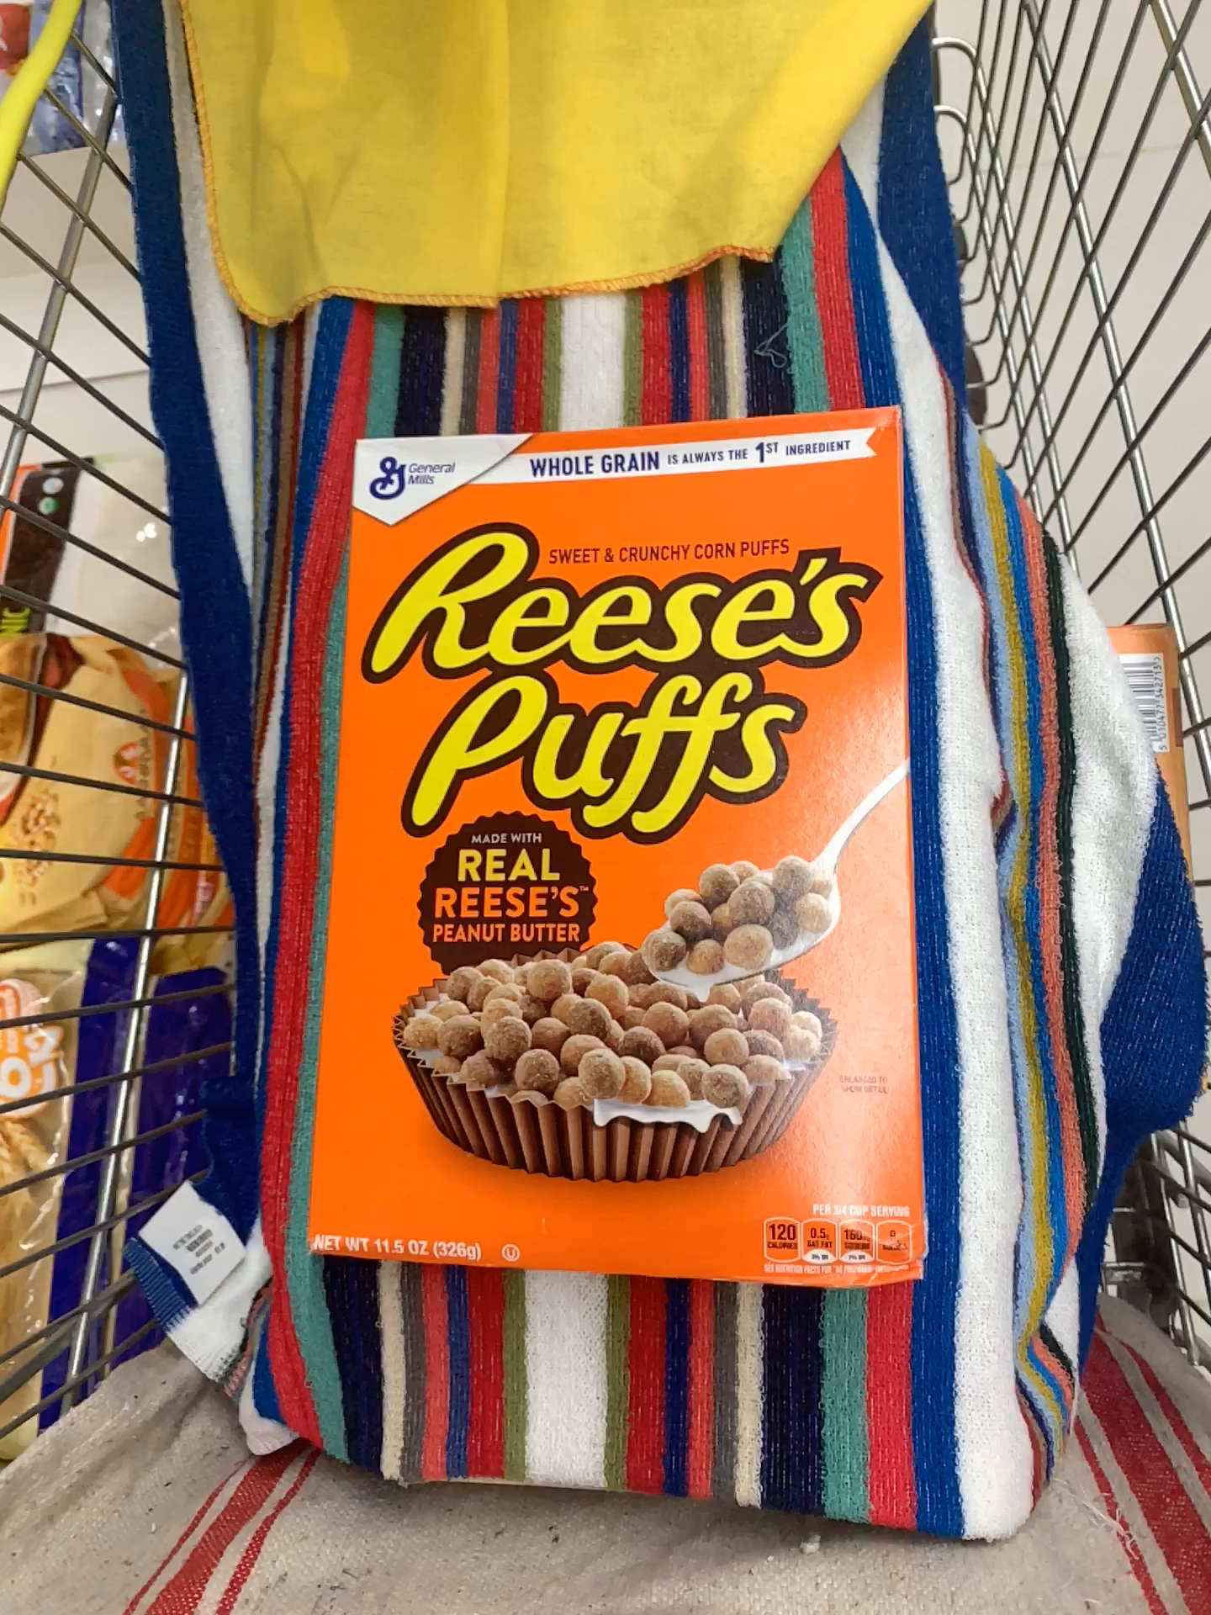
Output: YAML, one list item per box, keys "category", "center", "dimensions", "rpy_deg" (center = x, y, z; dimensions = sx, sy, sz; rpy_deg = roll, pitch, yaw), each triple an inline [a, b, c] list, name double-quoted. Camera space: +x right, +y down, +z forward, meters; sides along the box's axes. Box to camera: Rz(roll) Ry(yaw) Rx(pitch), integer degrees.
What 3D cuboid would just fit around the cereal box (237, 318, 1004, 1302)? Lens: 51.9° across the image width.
- category: "cereal box"
  center: [0.008, -0.001, 0.381]
  dimensions: [0.200, 0.080, 0.260]
  rpy_deg: [0, 80, 10]
